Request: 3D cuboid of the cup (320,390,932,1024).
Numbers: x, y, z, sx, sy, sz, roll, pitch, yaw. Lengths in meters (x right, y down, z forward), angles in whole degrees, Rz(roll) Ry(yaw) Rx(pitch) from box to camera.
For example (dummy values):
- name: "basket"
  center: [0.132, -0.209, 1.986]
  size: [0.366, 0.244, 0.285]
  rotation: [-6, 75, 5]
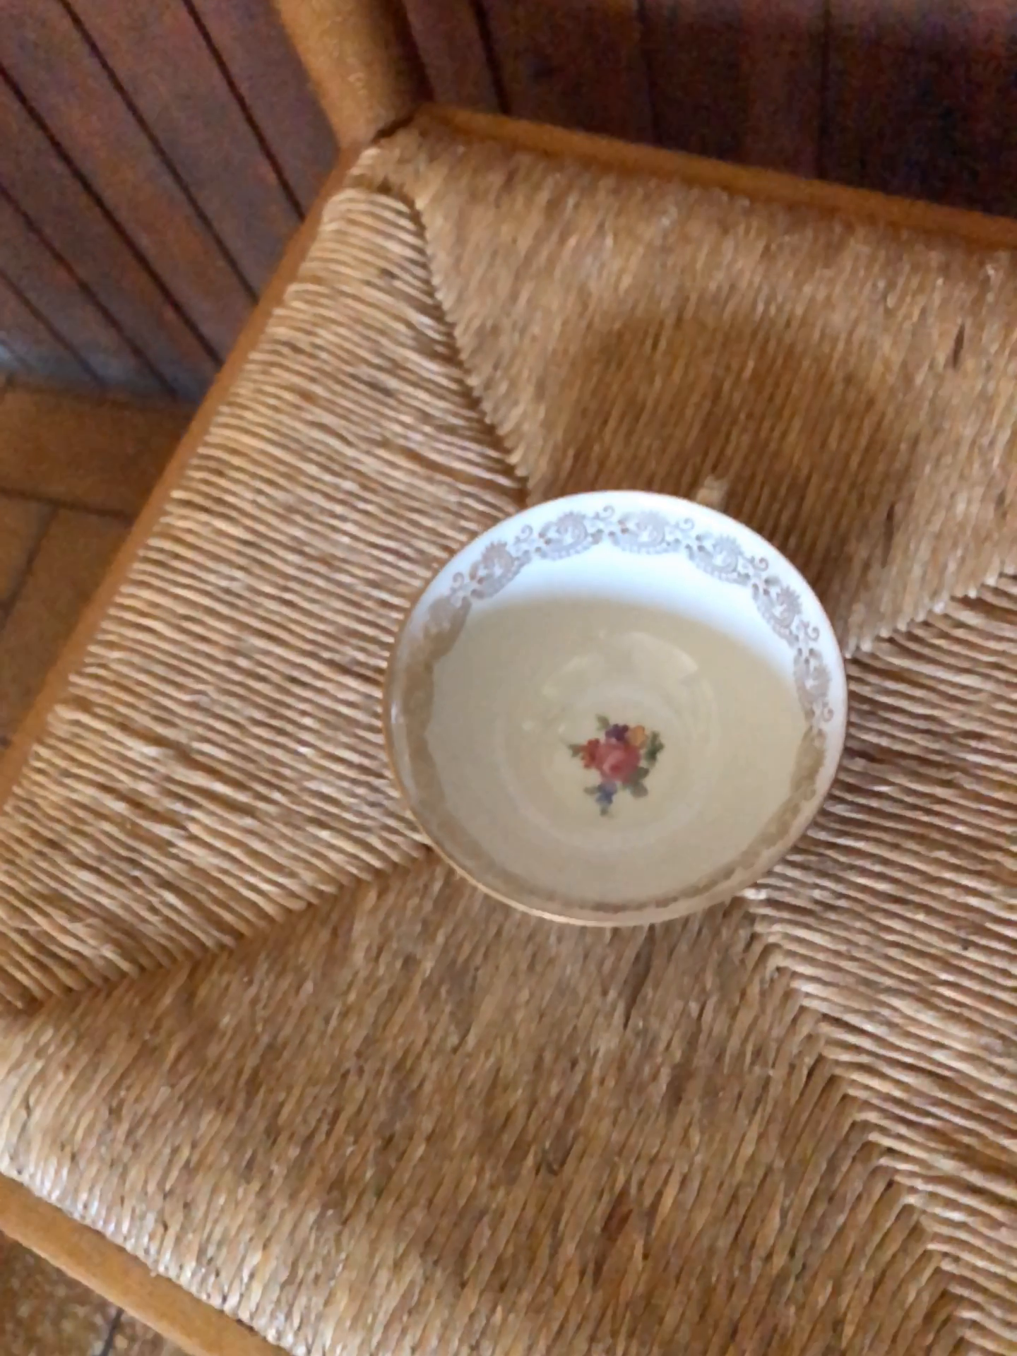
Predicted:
- name: "cup"
  center: [0.033, 0.005, 0.296]
  size: [0.110, 0.050, 0.130]
  rotation: [18, 76, 16]
